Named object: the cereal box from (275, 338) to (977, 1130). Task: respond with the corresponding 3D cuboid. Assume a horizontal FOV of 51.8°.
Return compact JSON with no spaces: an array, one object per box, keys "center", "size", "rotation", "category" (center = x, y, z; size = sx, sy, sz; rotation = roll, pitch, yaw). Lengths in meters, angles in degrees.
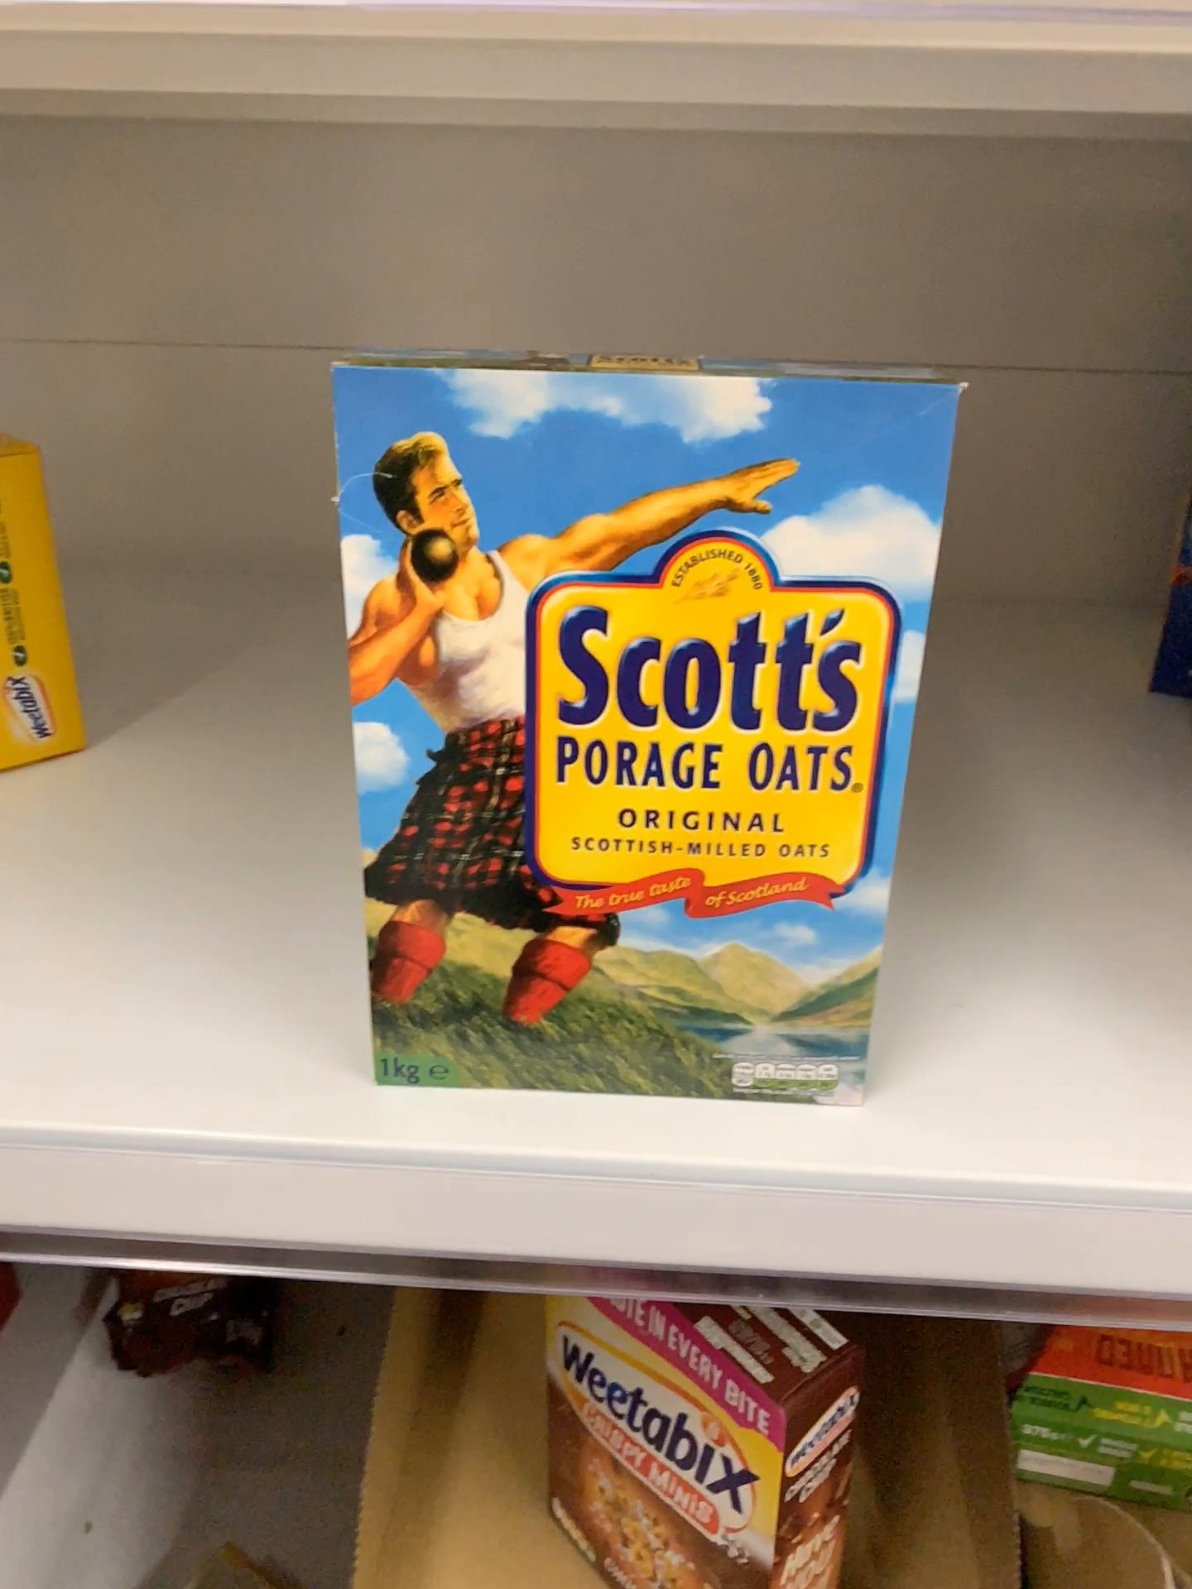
[{"center":[0.006,-0.014,0.438],"size":[0.200,0.268,0.071],"rotation":[2,25,1],"category":"cereal box"}]
